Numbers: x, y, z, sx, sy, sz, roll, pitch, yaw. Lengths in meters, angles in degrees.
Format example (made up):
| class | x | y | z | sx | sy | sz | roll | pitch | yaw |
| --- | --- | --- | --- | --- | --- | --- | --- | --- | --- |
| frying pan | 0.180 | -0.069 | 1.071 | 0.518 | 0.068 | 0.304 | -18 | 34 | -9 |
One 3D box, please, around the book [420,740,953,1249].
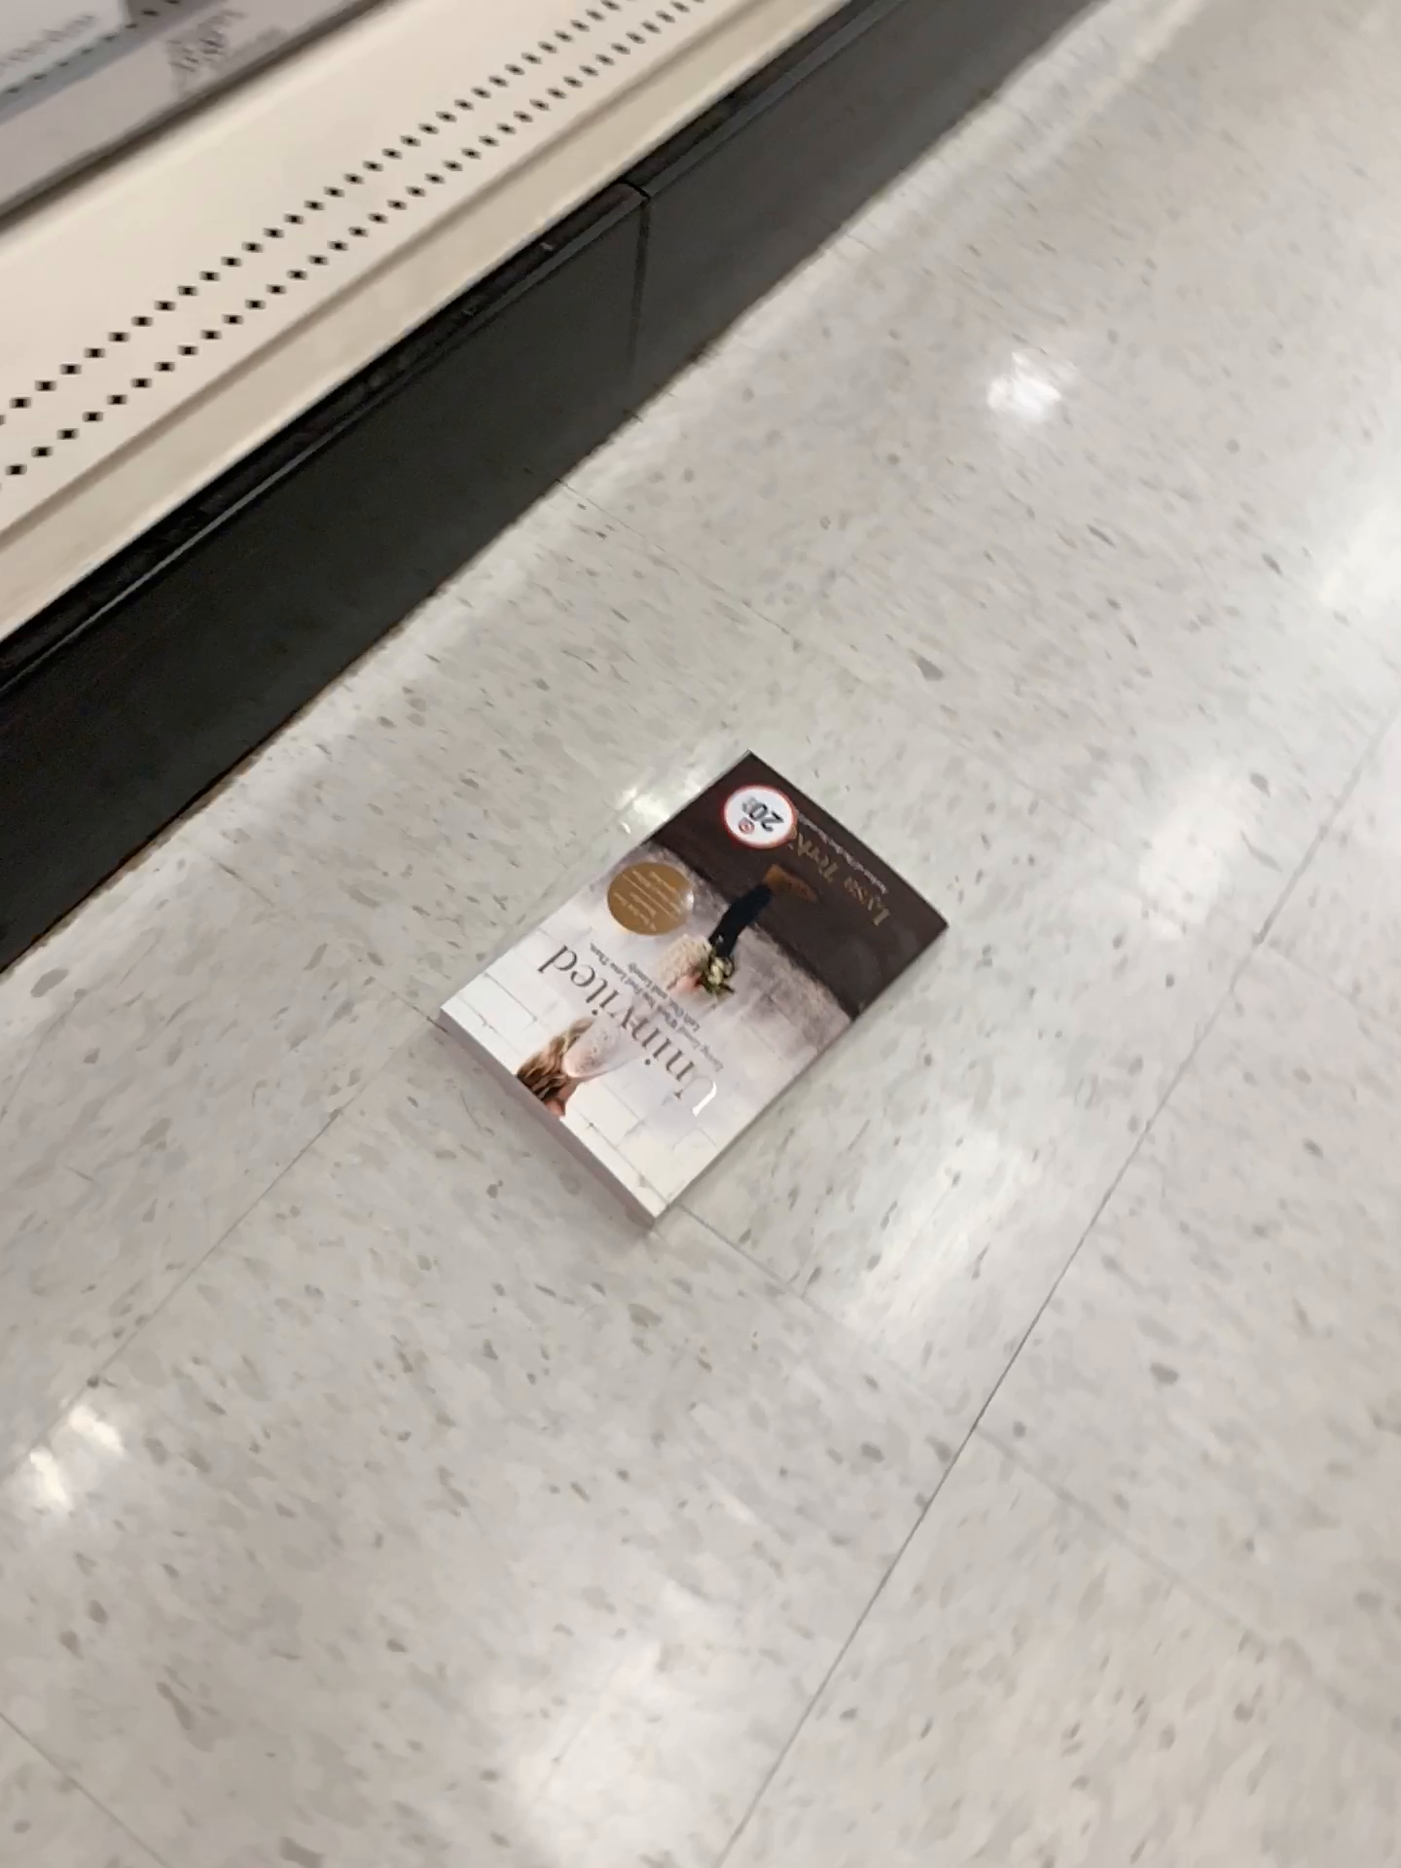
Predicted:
| class | x | y | z | sx | sy | sz | roll | pitch | yaw |
| --- | --- | --- | --- | --- | --- | --- | --- | --- | --- |
| book | -0.003 | 0.020 | 0.666 | 0.140 | 0.030 | 0.211 | 42 | 65 | 13 |
